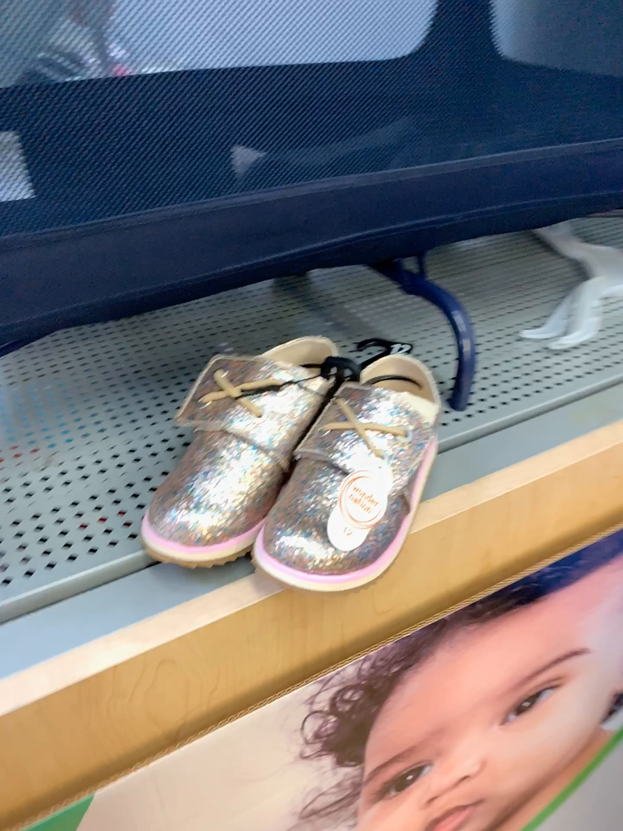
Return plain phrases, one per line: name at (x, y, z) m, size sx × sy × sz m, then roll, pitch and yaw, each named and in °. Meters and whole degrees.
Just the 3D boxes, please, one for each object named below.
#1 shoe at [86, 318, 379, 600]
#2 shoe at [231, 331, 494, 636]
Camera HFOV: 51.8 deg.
shoe at (-0.039, 0.014, 0.430) m, size 0.083 × 0.070 × 0.199 m, roll 19°, pitch 39°, yaw 25°
shoe at (0.043, 0.026, 0.408) m, size 0.086 × 0.060 × 0.206 m, roll 17°, pitch 38°, yaw 22°
